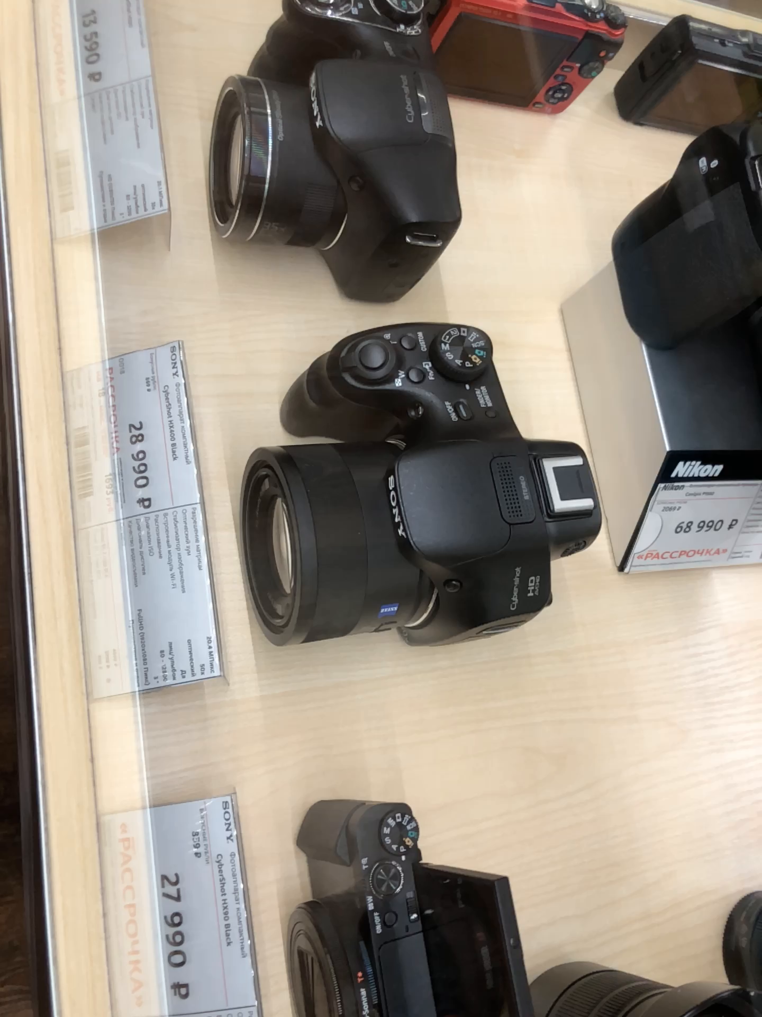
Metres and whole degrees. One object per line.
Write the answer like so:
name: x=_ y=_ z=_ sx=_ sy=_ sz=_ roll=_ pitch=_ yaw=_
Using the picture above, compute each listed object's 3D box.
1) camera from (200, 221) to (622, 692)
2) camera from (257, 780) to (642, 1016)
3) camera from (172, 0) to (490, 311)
camera: x=0.003 y=-0.015 z=0.305 sx=0.104 sy=0.086 sz=0.137 roll=-4 pitch=75 yaw=-25
camera: x=0.010 y=0.158 z=0.272 sx=0.056 sy=0.113 sz=0.125 roll=-4 pitch=75 yaw=-25
camera: x=-0.026 y=-0.158 z=0.353 sx=0.096 sy=0.073 sz=0.122 roll=-4 pitch=75 yaw=-25
